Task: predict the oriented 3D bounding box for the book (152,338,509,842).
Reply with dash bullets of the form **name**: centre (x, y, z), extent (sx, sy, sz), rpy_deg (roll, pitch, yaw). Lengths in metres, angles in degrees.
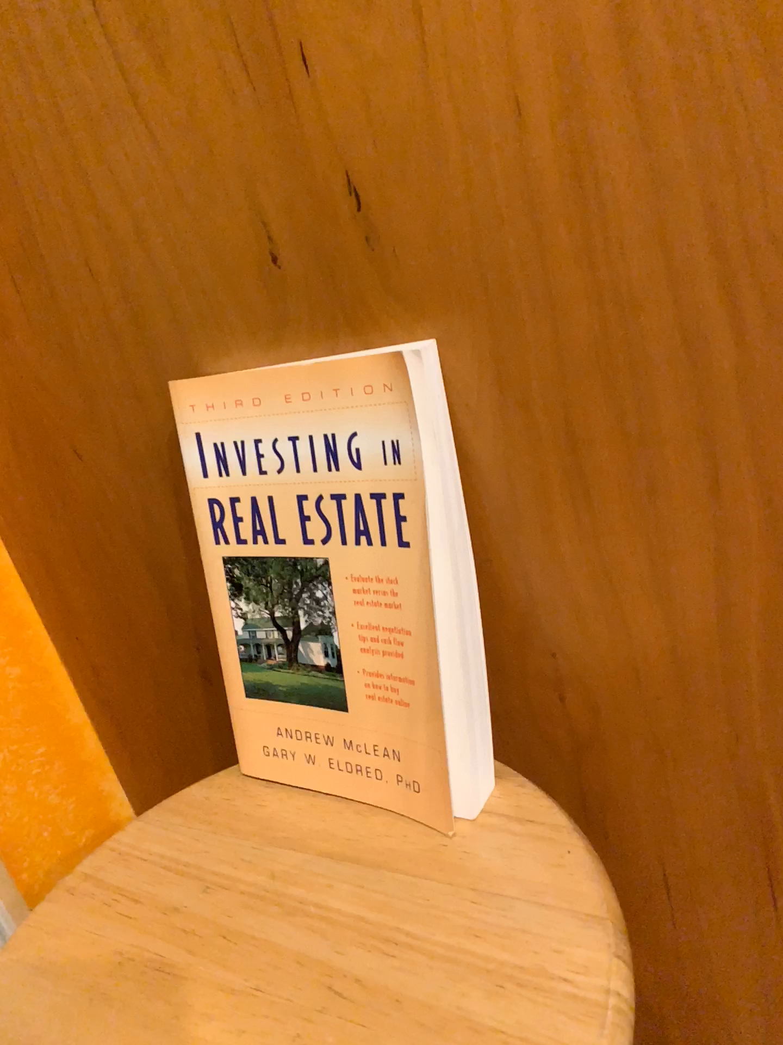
- **book**: centre (-0.033, 0.031, 0.421), extent (0.160, 0.230, 0.050), rpy_deg (-1, 11, 33)
